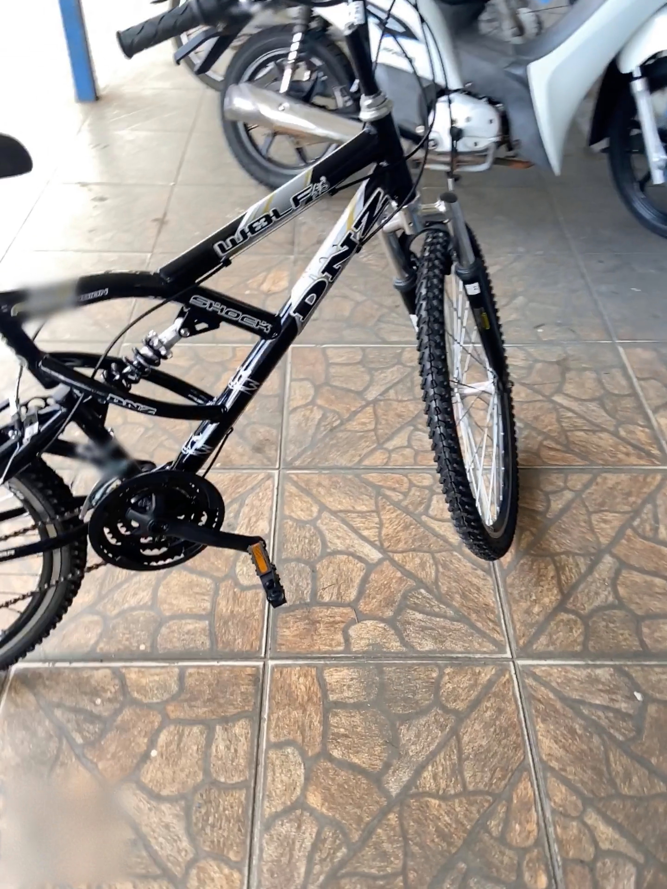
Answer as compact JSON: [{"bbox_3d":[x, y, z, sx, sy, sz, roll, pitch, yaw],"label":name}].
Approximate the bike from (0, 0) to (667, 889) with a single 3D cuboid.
[{"bbox_3d":[-0.329,-0.191,0.972,1.588,1.153,0.605,-25,53,-19],"label":"bike"}]
